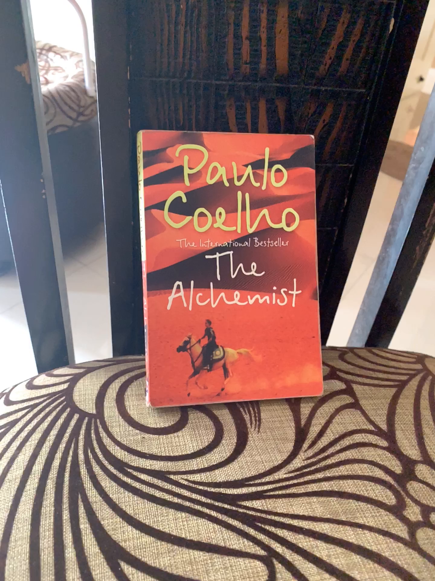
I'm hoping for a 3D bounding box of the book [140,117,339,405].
[{"bbox_3d":[0.014,-0.023,0.338,0.140,0.200,0.030,-1,-4,-10],"label":"book"}]
